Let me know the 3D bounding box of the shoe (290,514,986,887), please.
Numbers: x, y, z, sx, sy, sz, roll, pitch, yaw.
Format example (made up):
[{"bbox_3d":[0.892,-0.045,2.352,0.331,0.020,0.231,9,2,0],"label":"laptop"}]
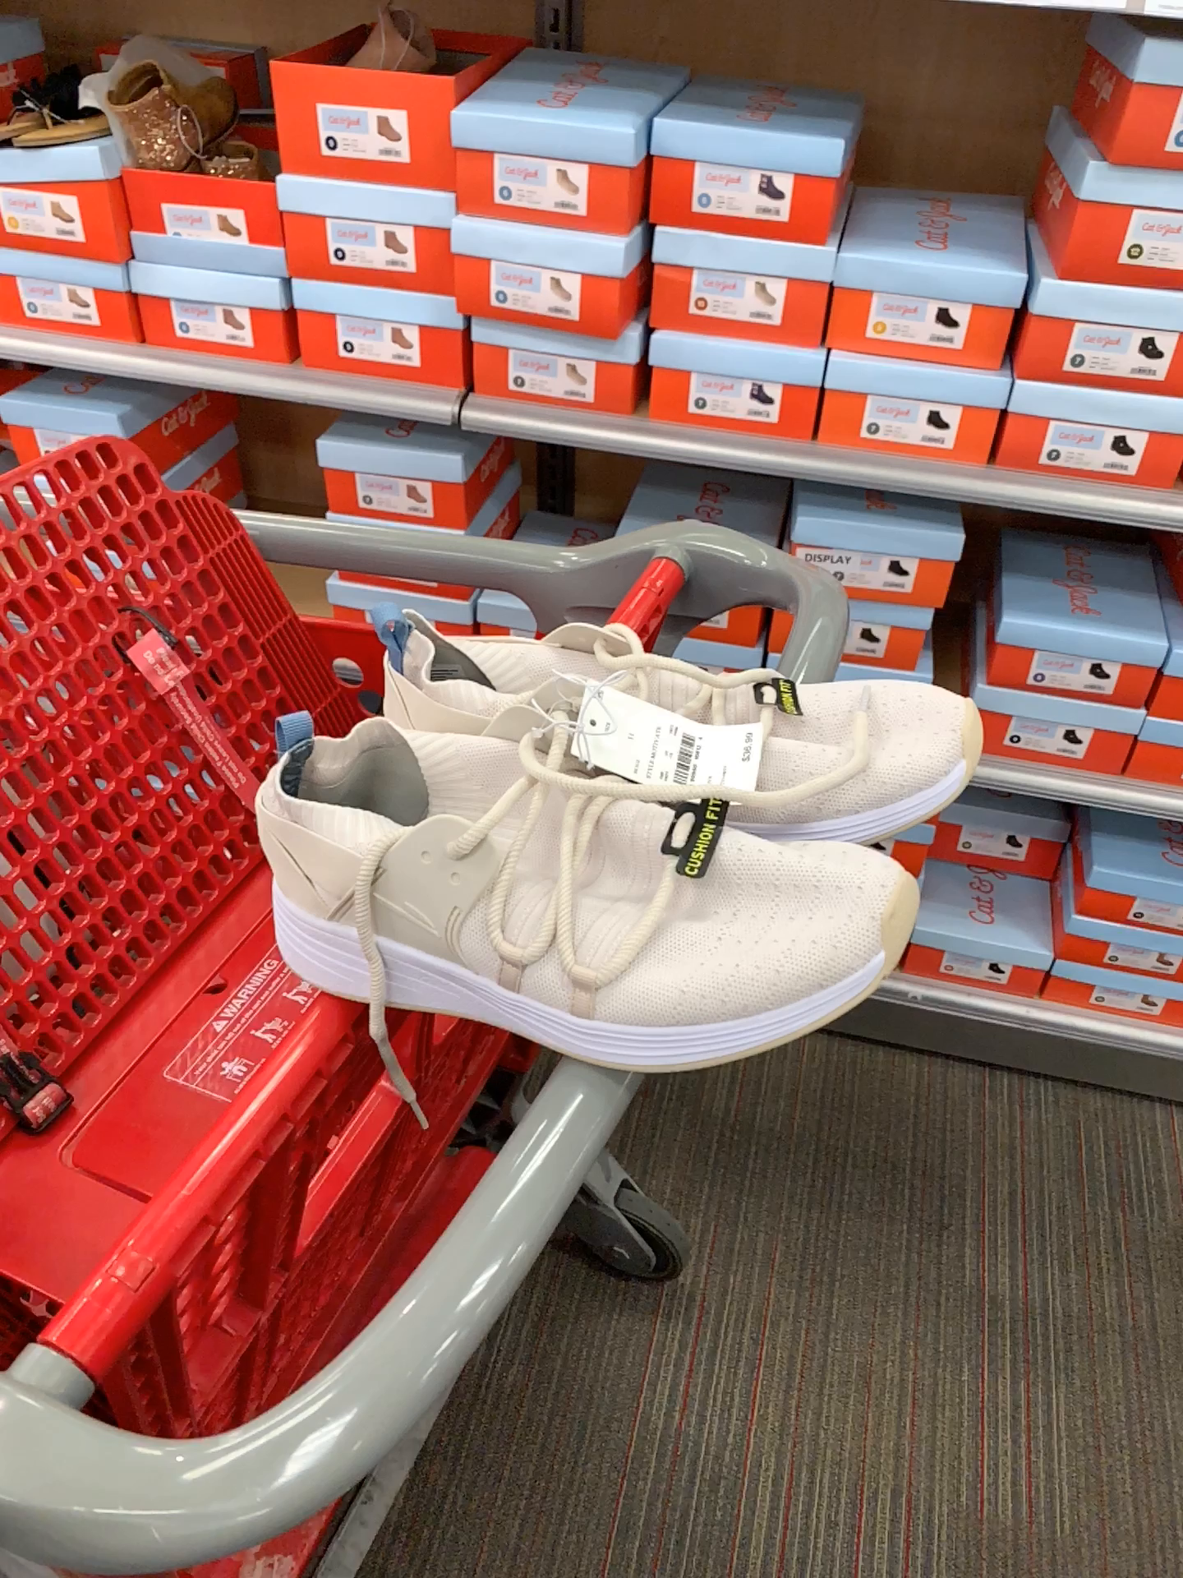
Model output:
[{"bbox_3d":[0.029,-0.036,0.545,0.280,0.109,0.111,0,40,18],"label":"shoe"}]

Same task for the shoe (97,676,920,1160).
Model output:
[{"bbox_3d":[-0.032,0.035,0.469,0.280,0.110,0.110,4,39,28],"label":"shoe"}]
